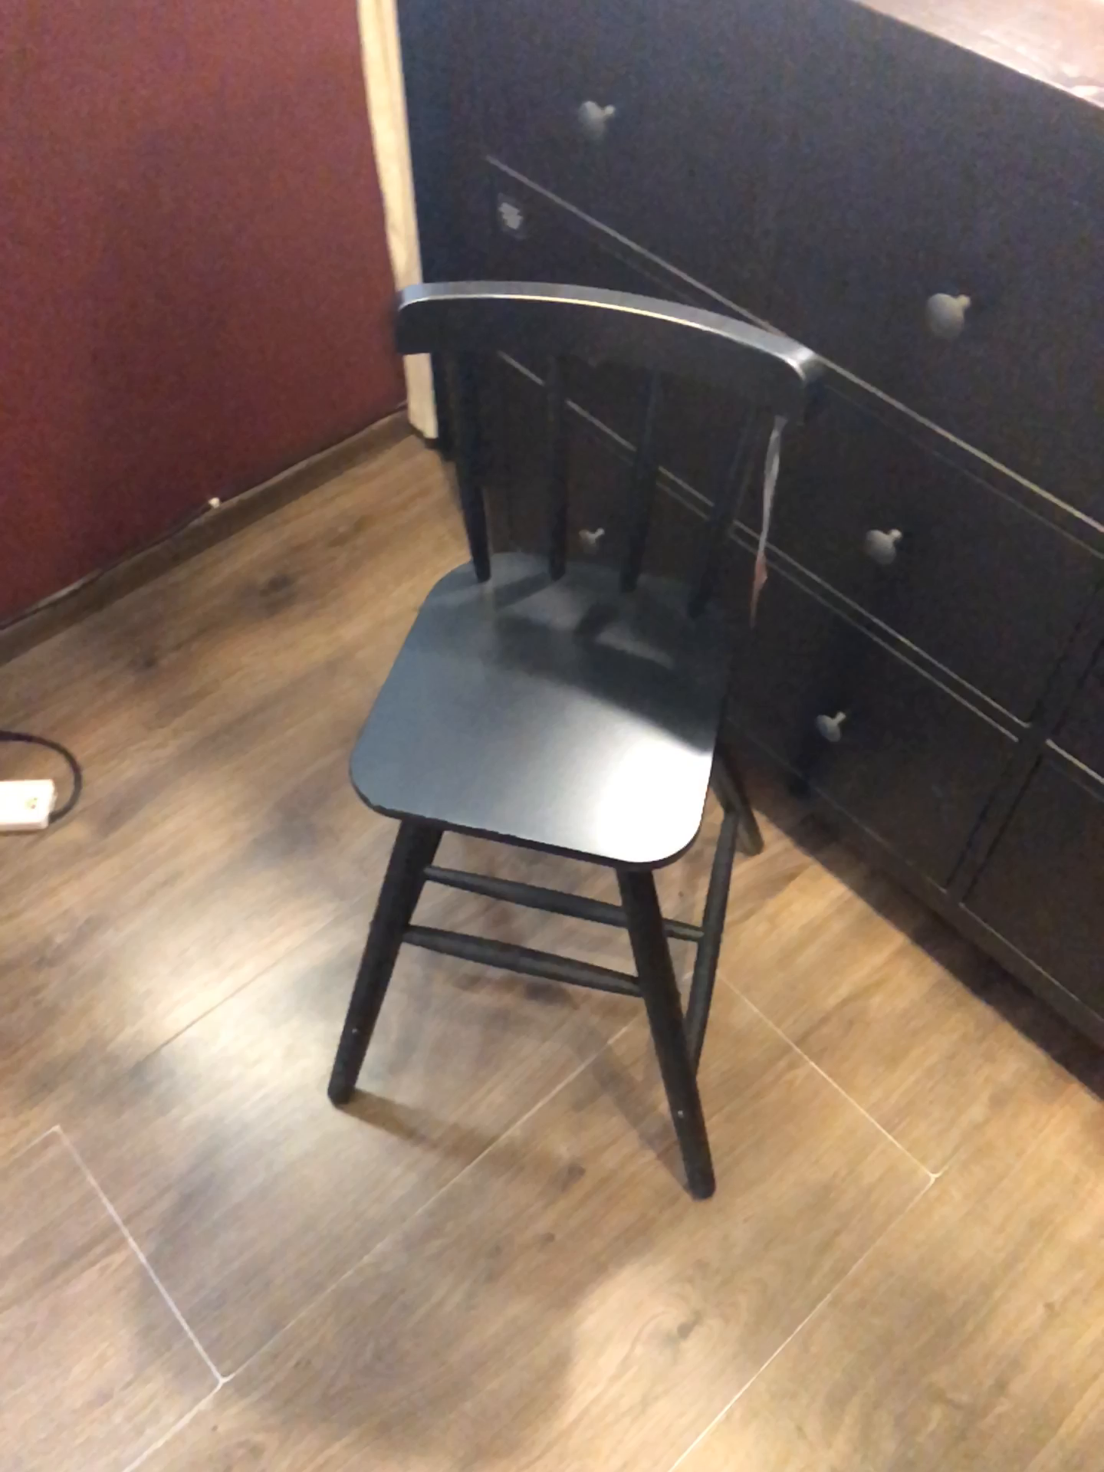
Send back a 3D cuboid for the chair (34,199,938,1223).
[{"bbox_3d":[0.002,0.026,1.051,0.450,0.716,0.472,12,55,10],"label":"chair"}]
